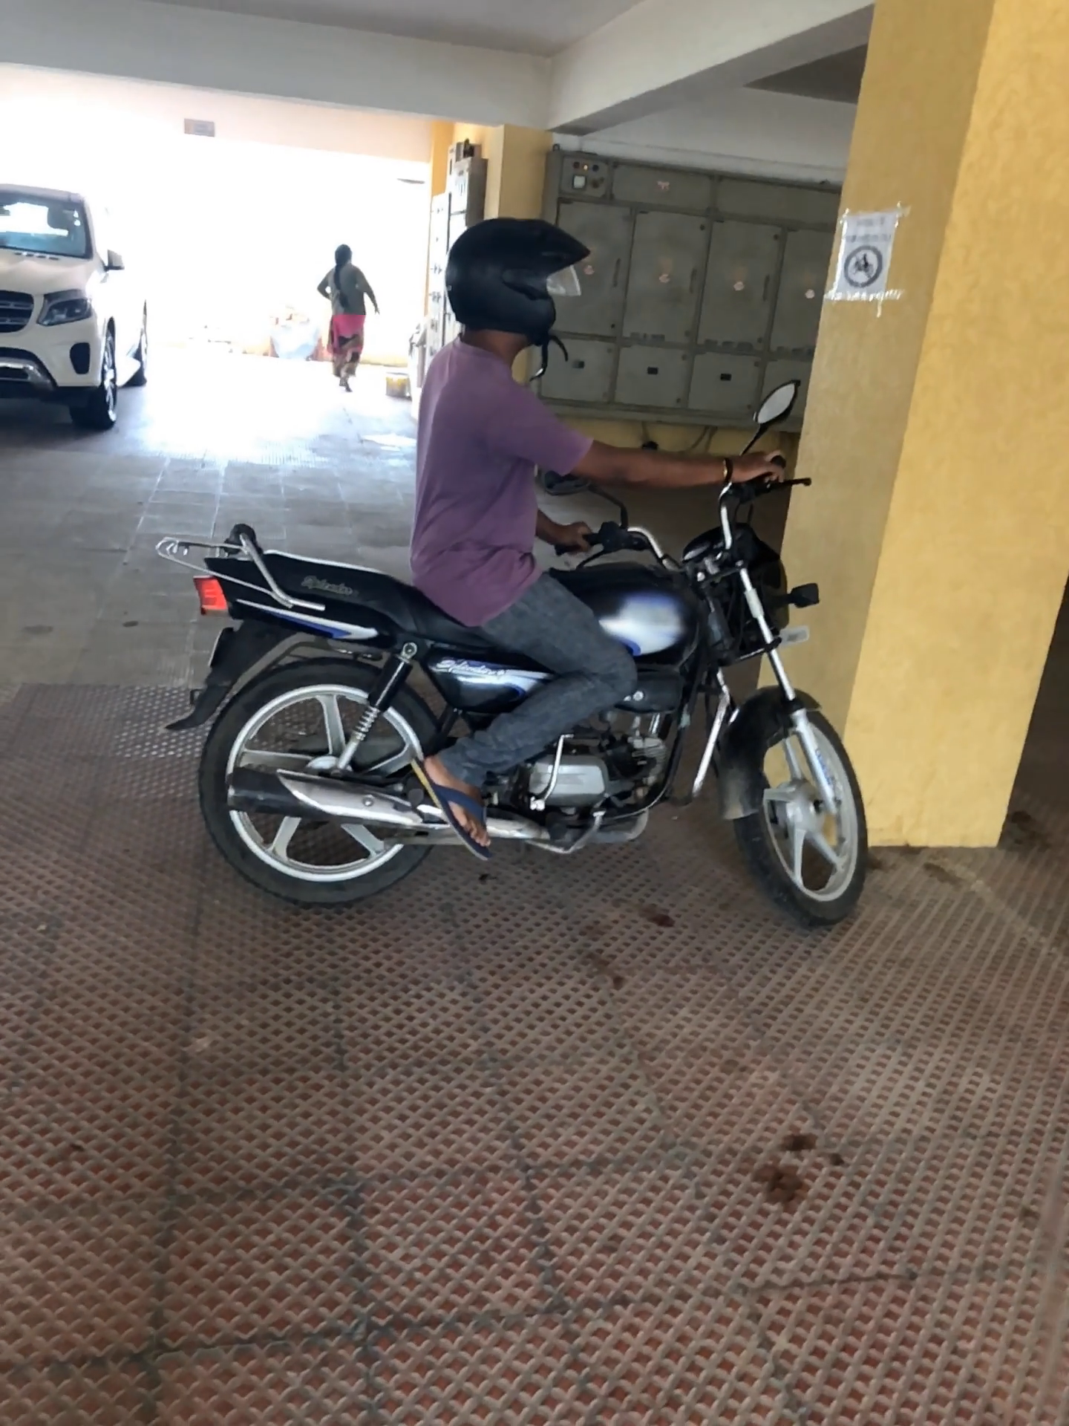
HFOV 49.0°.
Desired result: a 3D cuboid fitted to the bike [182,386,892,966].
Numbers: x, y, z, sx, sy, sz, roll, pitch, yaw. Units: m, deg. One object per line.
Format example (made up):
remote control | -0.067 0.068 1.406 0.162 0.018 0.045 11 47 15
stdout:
bike | -0.055 -0.084 3.018 1.543 1.195 0.769 3 20 -14
